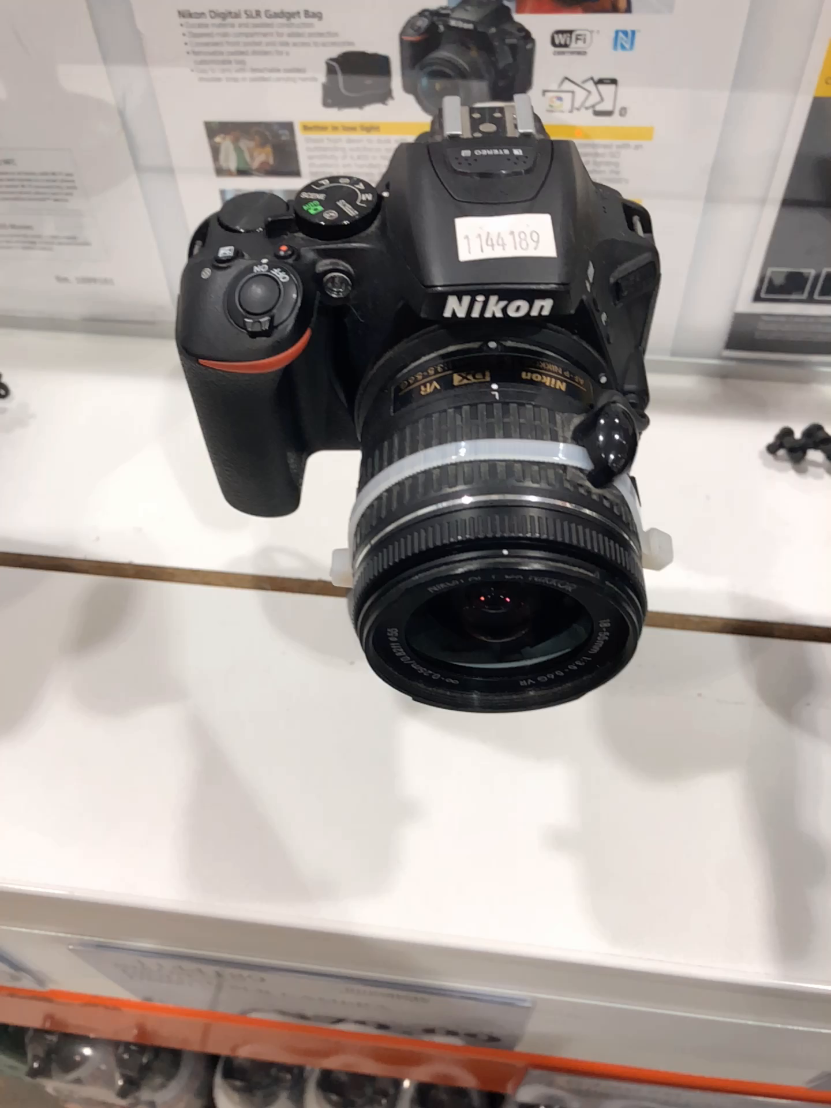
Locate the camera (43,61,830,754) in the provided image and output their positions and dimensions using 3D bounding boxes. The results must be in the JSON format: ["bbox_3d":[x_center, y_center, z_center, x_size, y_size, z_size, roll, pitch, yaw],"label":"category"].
[{"bbox_3d":[0.006,-0.038,0.223,0.130,0.090,0.140,-1,53,0],"label":"camera"}]
